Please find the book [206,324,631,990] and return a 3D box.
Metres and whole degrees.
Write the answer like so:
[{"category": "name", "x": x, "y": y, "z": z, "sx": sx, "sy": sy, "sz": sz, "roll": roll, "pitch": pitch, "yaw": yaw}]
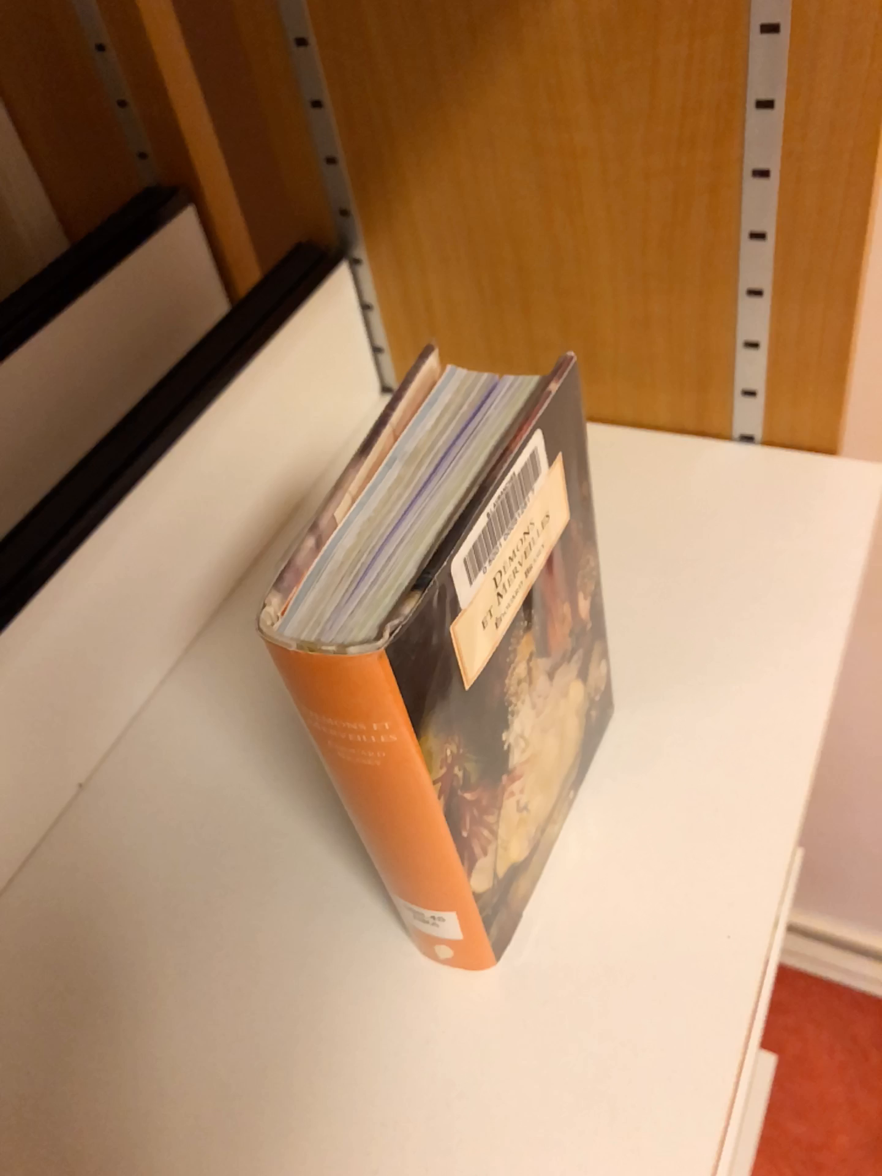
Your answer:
[{"category": "book", "x": 0.010, "y": 0.024, "z": 0.288, "sx": 0.047, "sy": 0.155, "sz": 0.114, "roll": 12, "pitch": 51, "yaw": 26}]
